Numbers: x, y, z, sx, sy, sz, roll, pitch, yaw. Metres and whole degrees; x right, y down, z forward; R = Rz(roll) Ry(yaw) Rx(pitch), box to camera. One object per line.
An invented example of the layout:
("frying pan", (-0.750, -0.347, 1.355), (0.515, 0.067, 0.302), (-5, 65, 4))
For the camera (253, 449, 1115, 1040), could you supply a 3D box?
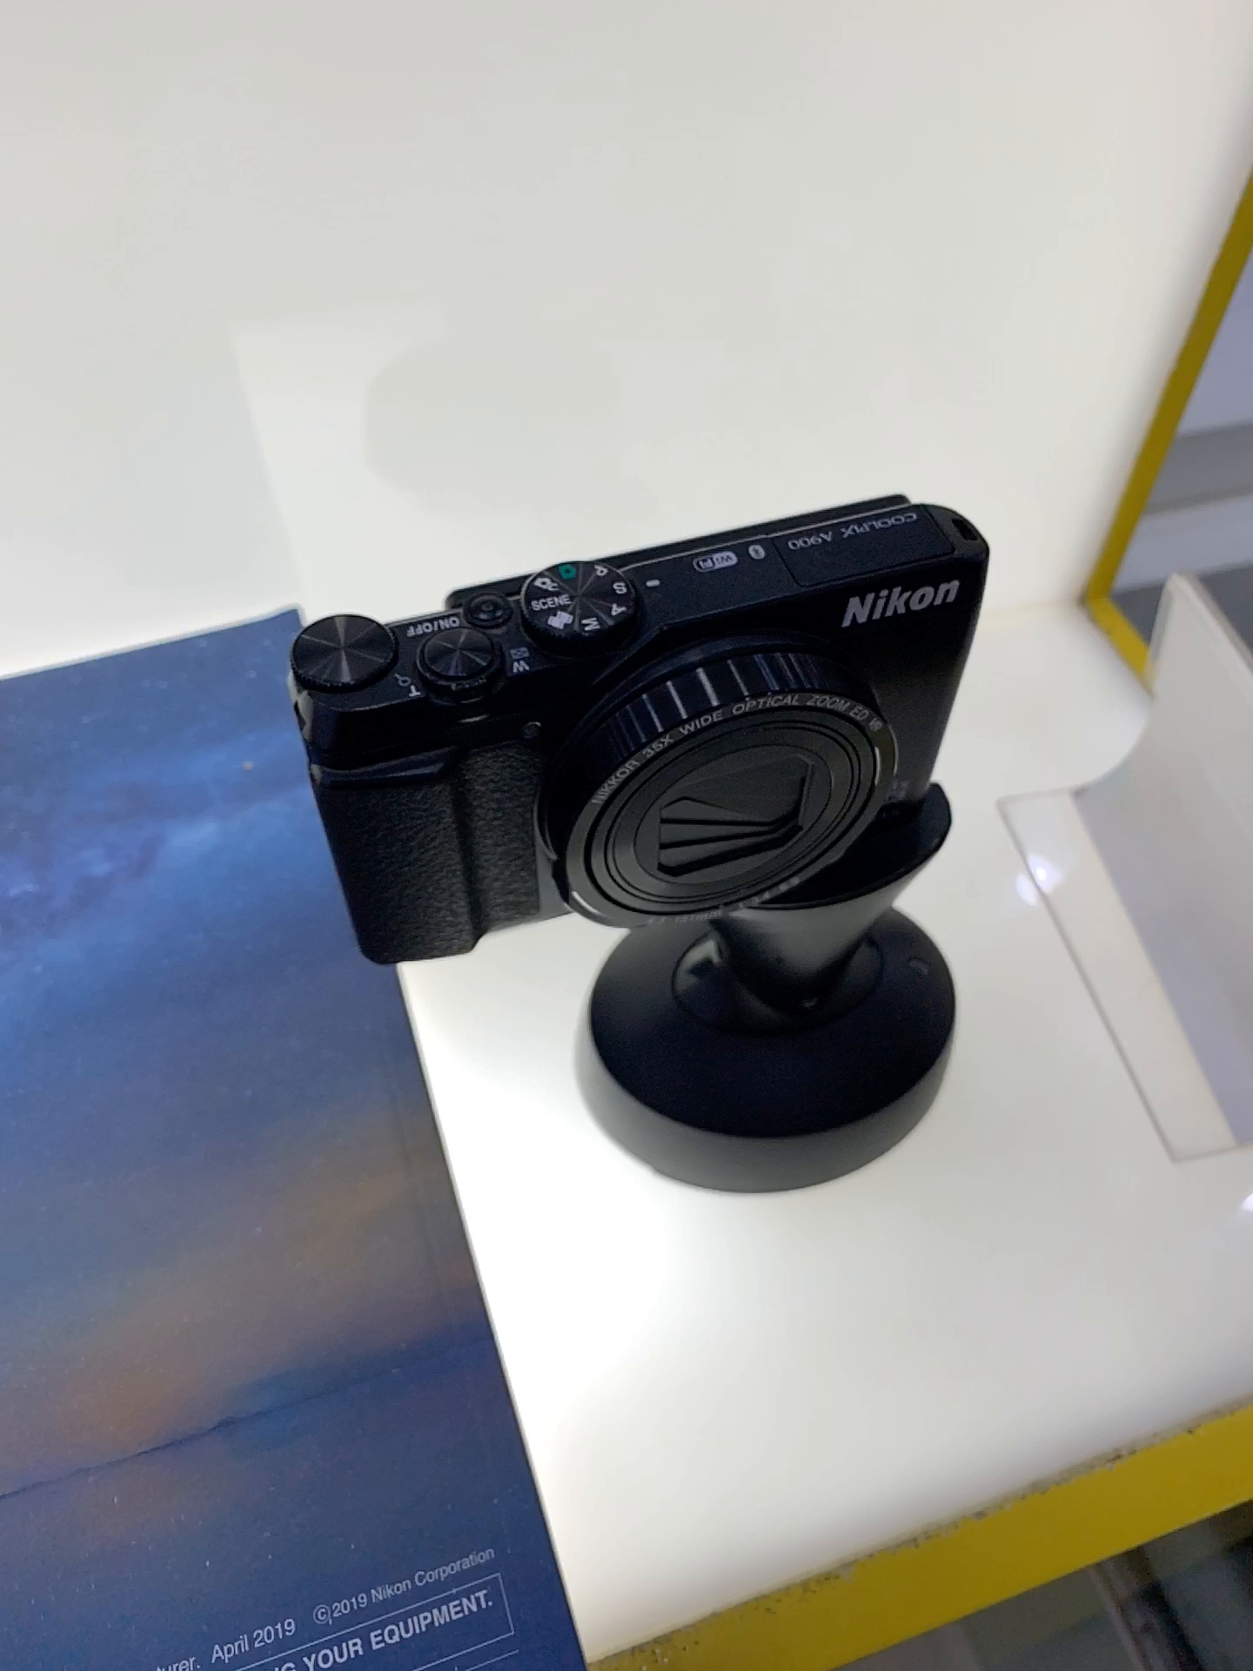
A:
("camera", (0.008, -0.016, 0.216), (0.120, 0.060, 0.040), (-15, 54, -14))
